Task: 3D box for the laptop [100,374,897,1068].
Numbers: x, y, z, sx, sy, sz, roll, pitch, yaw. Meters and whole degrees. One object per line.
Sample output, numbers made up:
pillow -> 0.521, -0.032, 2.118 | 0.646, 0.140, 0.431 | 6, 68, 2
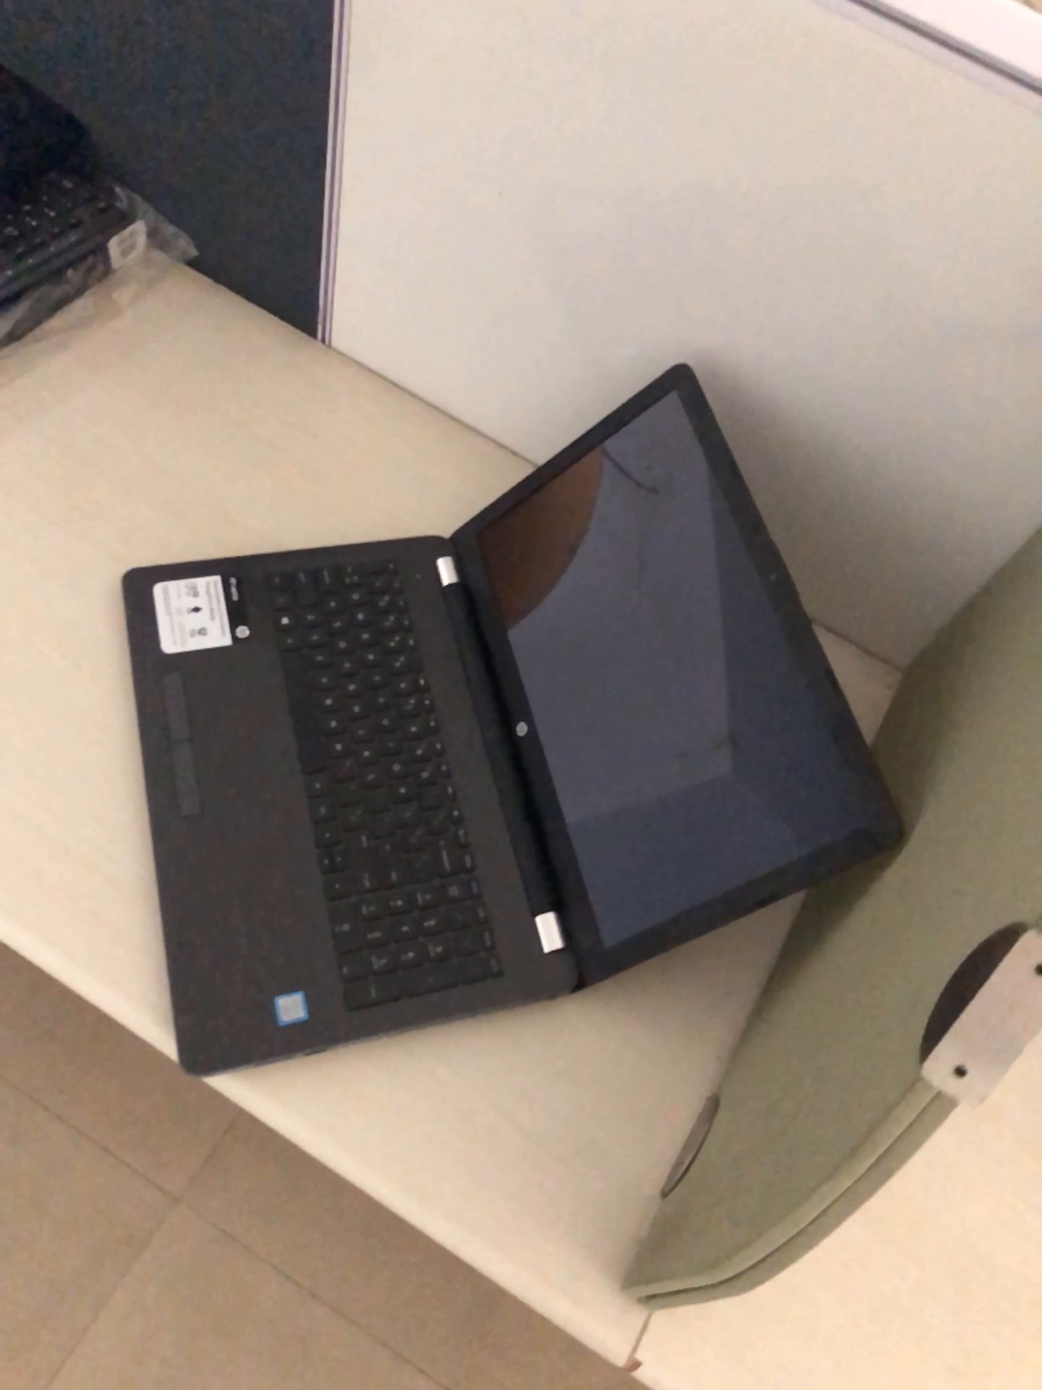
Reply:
laptop -> -0.040, -0.005, 0.747 | 0.394, 0.168, 0.367 | -8, 61, -16
